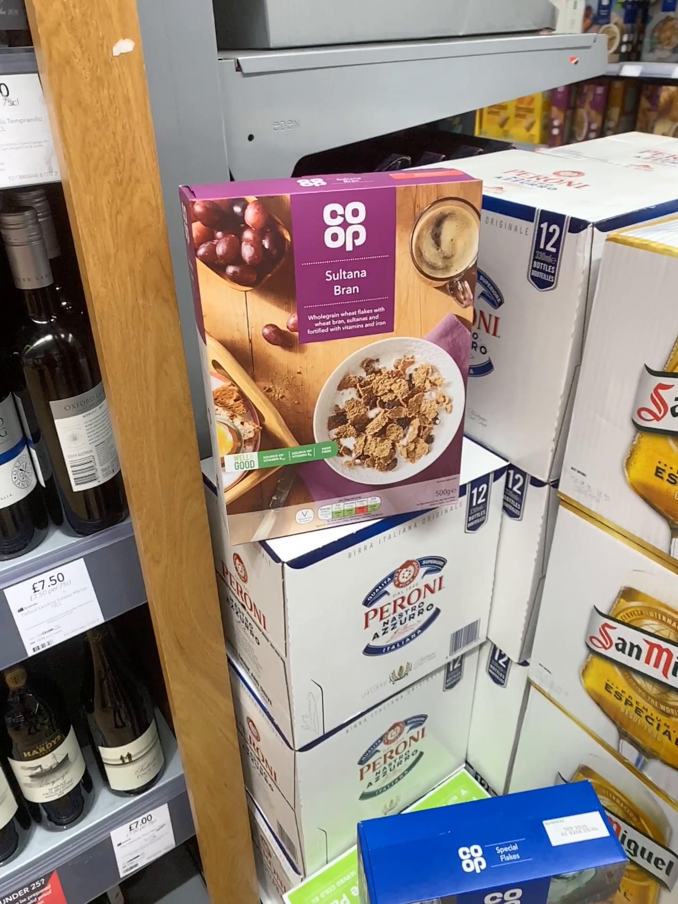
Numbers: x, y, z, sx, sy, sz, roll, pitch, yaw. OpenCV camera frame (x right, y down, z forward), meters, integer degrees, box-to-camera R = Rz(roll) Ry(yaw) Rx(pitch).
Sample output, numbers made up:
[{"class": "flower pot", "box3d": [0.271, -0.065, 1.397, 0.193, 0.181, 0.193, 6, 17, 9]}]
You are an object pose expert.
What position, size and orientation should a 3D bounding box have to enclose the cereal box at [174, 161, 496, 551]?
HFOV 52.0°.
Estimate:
[{"class": "cereal box", "box3d": [-0.001, -0.068, 0.521, 0.200, 0.257, 0.071, -9, 31, -13]}]
